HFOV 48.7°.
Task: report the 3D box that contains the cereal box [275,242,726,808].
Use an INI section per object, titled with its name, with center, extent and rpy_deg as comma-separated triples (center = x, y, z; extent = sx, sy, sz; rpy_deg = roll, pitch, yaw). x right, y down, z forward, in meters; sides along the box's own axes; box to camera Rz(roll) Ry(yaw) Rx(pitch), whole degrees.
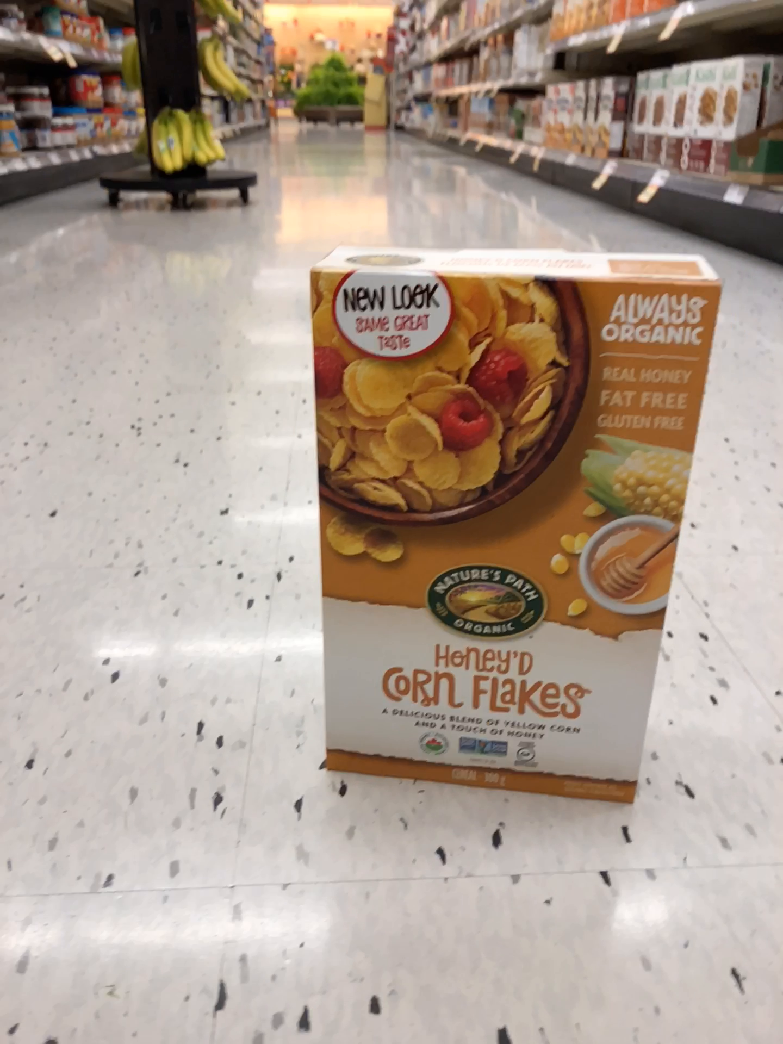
[cereal box]
center = 0.040, 0.006, 0.387
extent = 0.160, 0.239, 0.060
rpy_deg = 4, 26, 8
